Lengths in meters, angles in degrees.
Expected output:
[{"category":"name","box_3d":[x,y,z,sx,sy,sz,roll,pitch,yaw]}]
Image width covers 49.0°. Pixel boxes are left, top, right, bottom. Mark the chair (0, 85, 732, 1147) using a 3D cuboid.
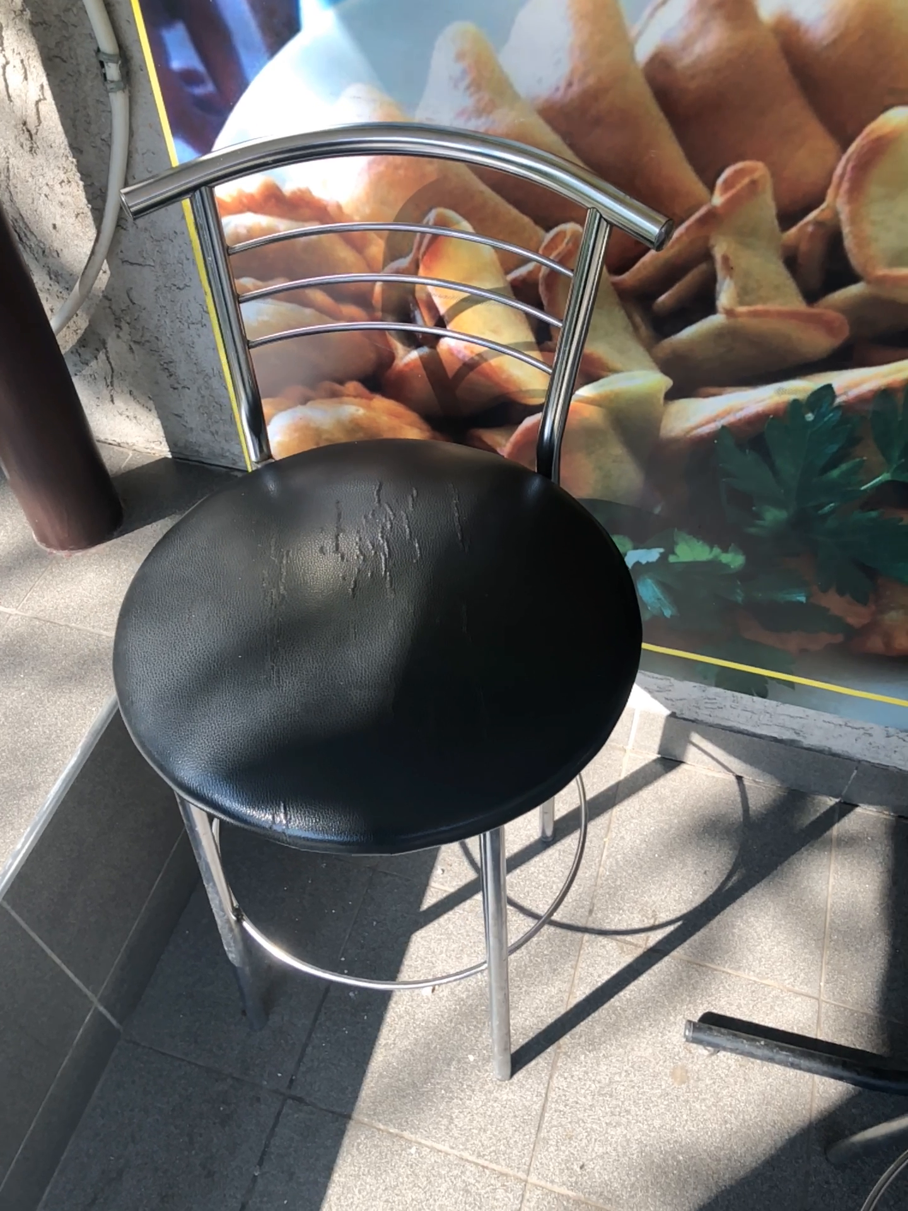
[{"category":"chair","box_3d":[-0.077,0.109,0.946,0.480,0.937,0.482,6,51,6]}]
